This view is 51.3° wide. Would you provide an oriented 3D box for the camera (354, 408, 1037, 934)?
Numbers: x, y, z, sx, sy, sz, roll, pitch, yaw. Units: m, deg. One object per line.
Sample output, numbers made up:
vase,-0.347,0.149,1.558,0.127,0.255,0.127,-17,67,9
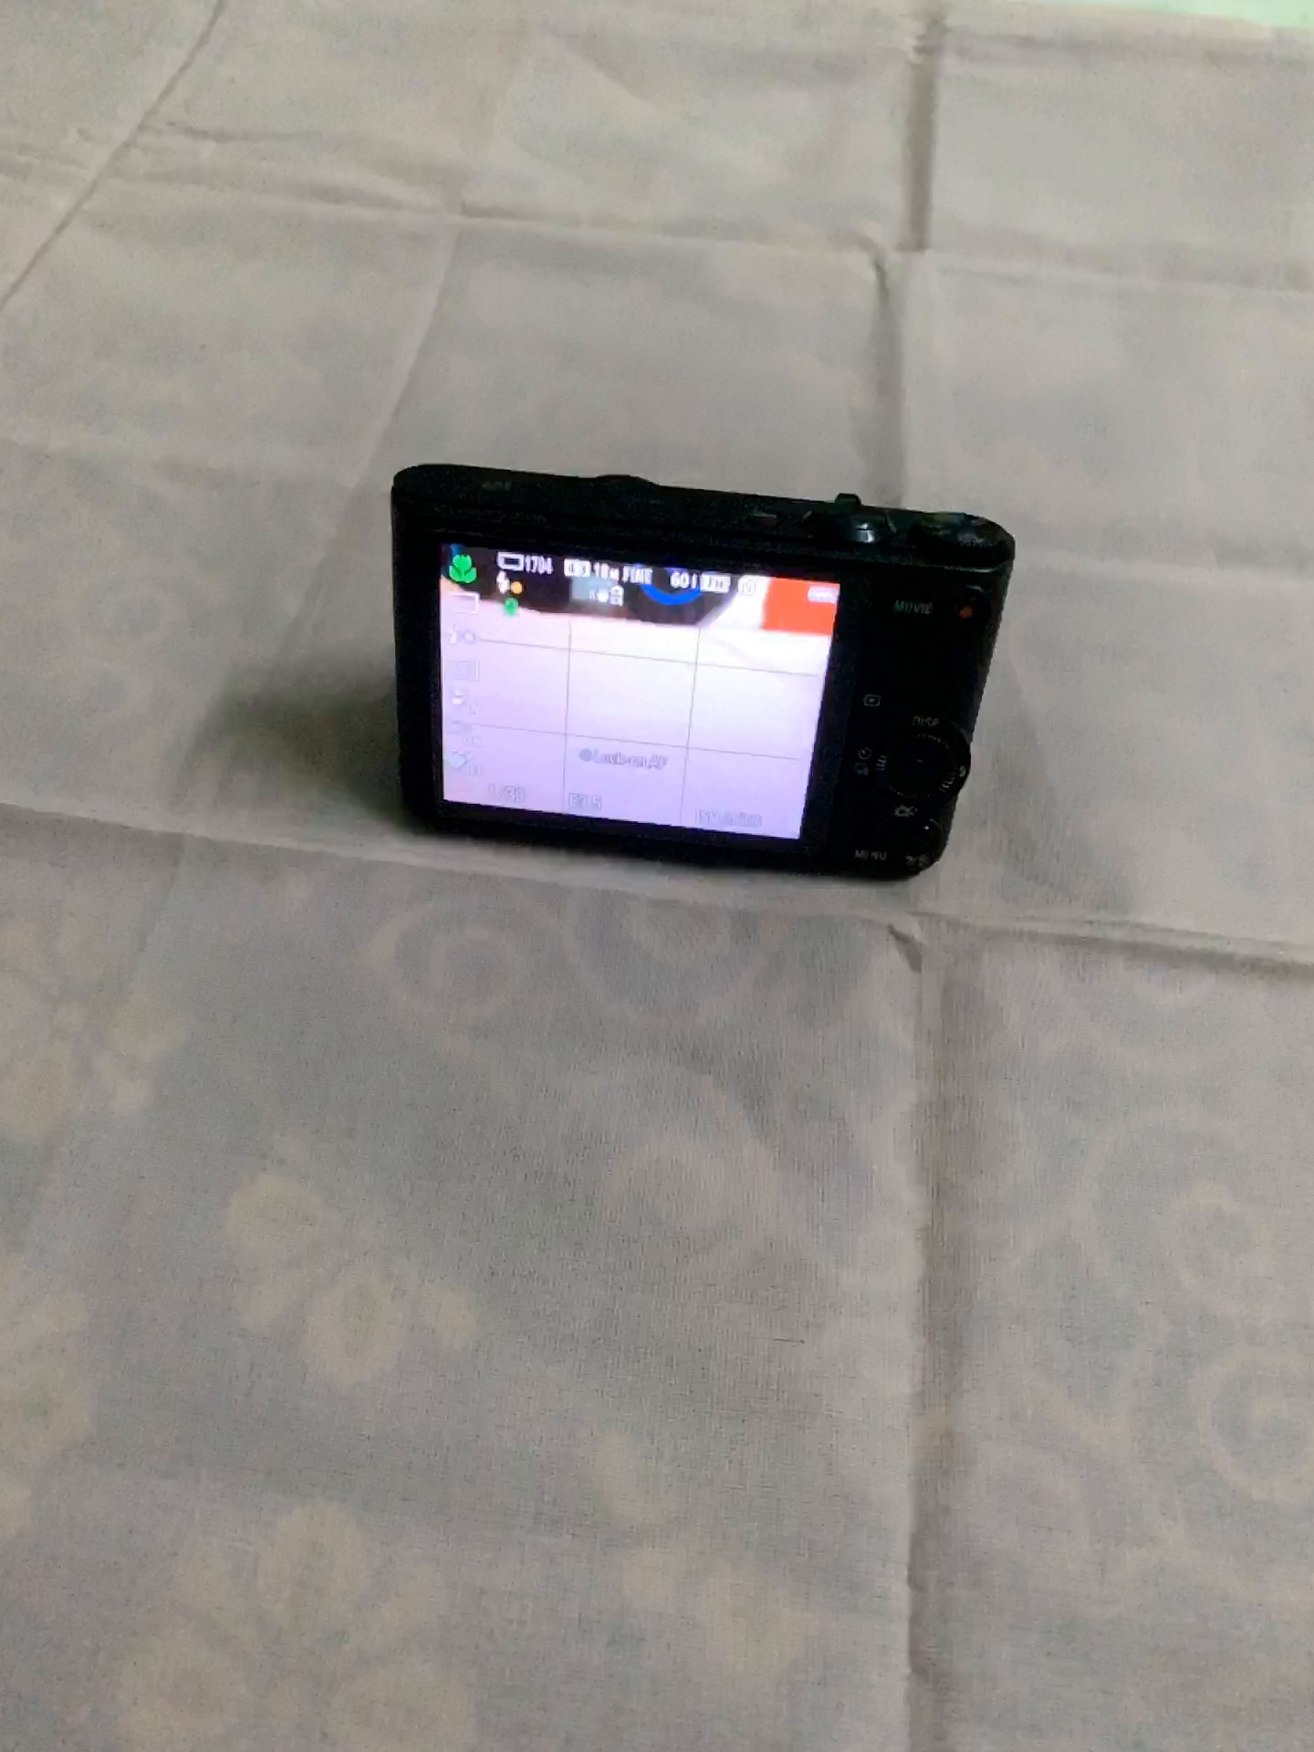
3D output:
camera,0.006,-0.037,0.241,0.100,0.060,0.059,6,40,1
